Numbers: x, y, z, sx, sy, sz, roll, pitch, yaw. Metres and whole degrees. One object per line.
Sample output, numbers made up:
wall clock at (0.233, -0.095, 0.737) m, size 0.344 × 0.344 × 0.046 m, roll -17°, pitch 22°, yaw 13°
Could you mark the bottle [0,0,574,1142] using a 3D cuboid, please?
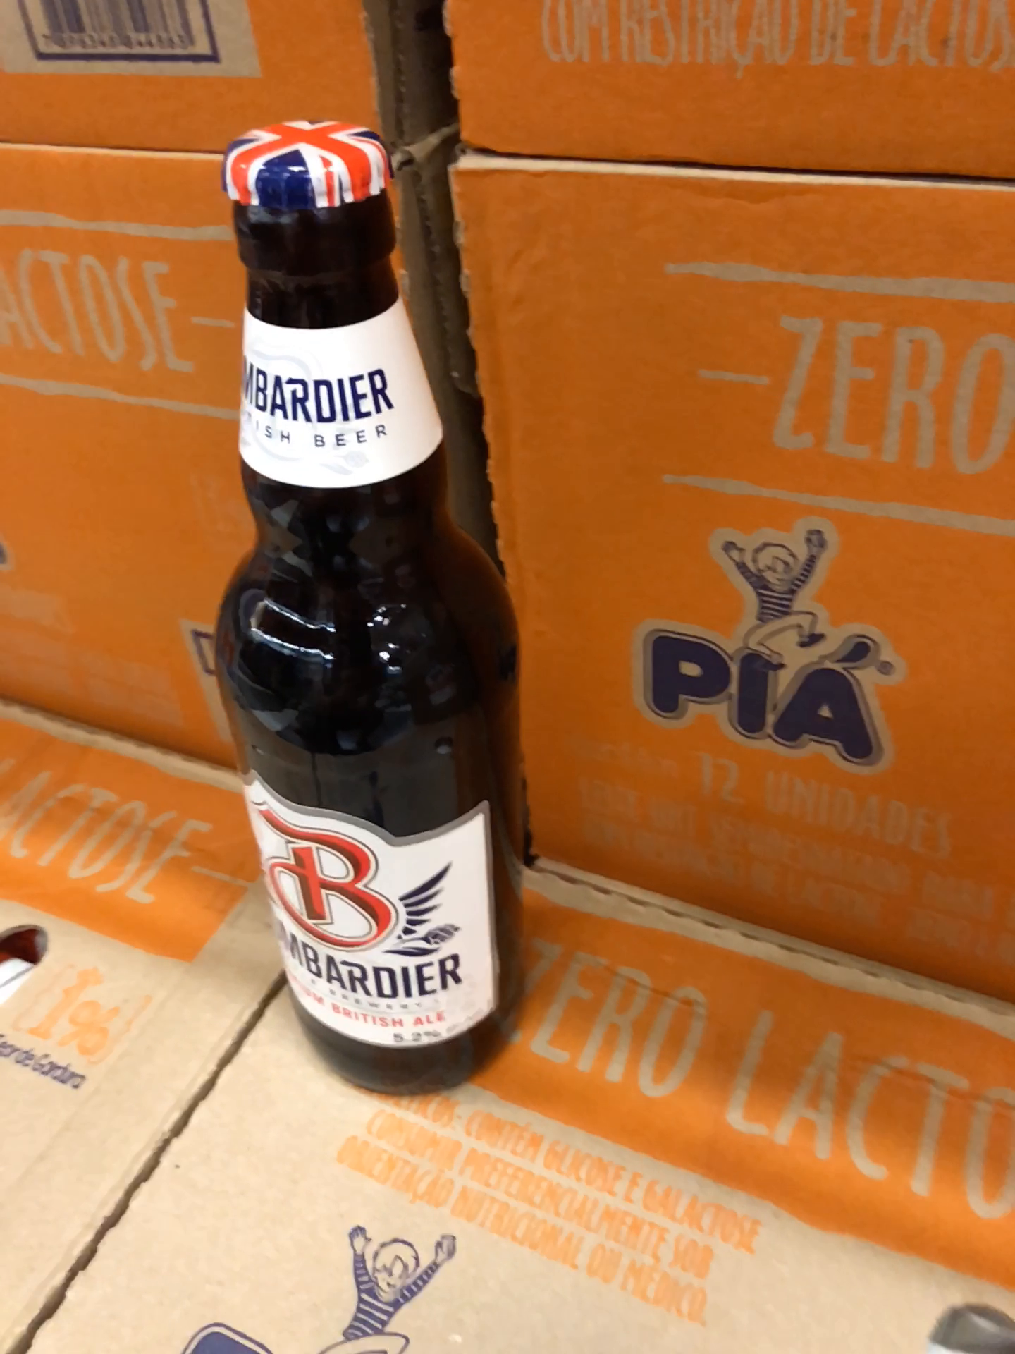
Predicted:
bottle at (-0.030, -0.003, 0.256) m, size 0.070 × 0.258 × 0.060 m, roll 16°, pitch 42°, yaw 23°
